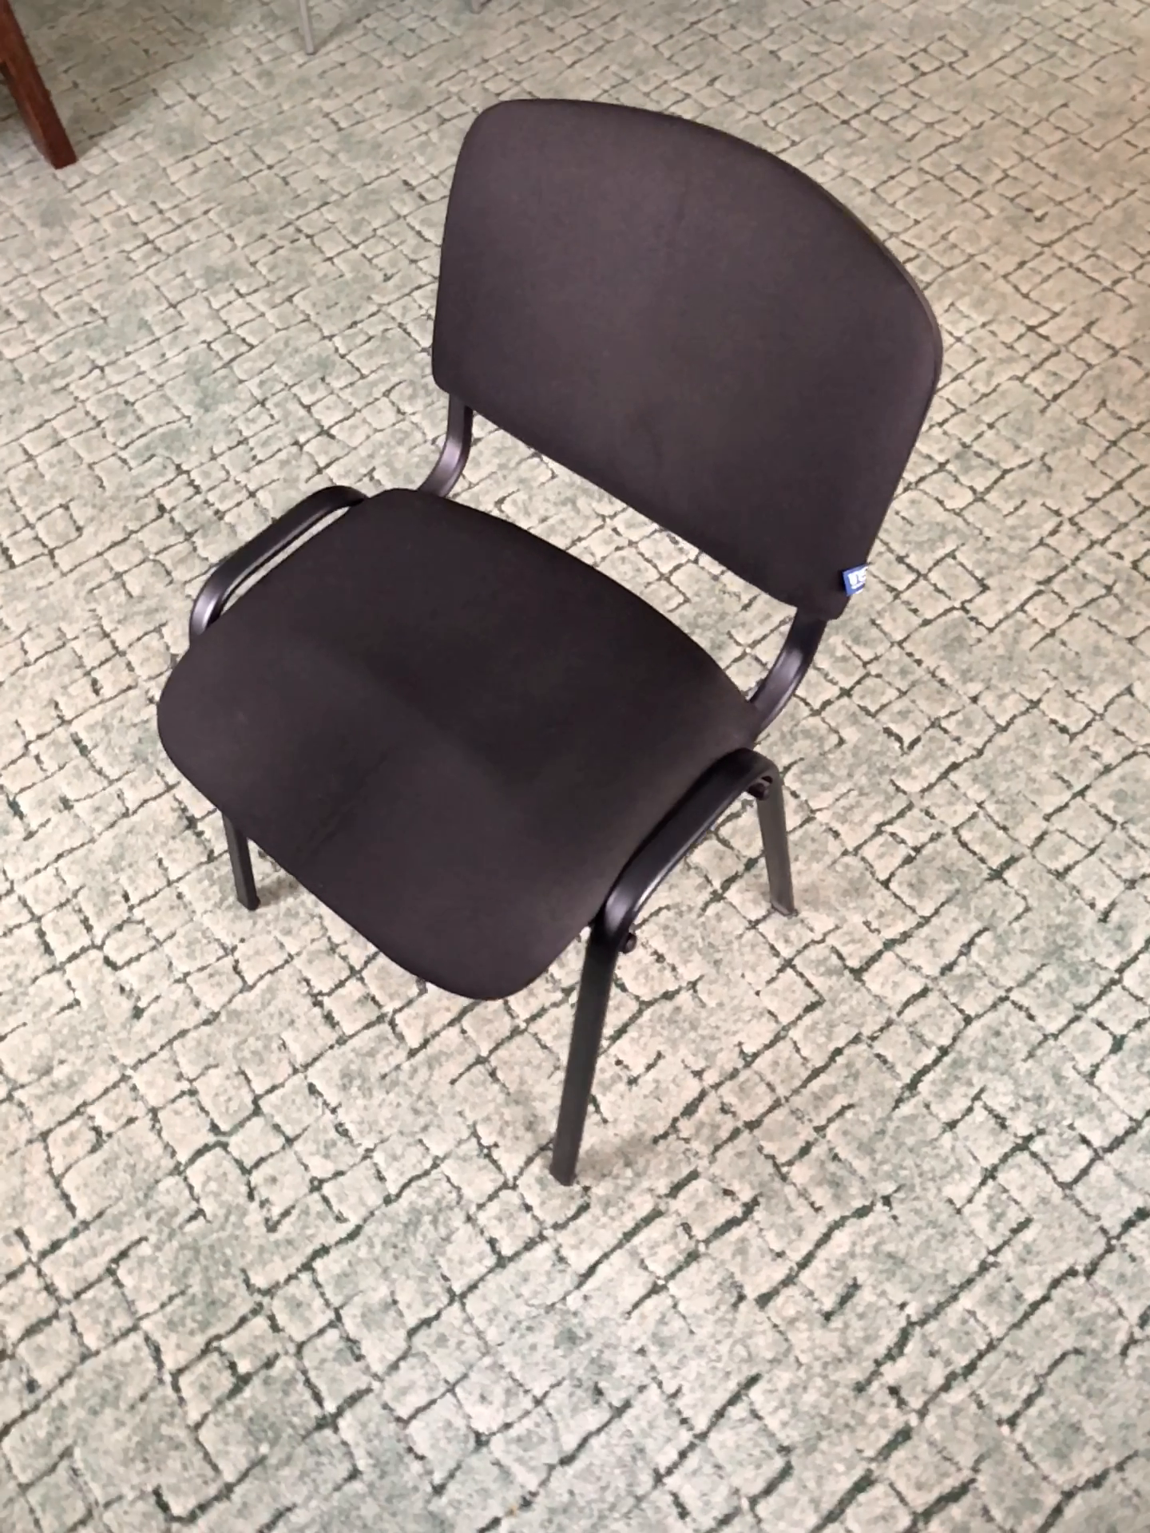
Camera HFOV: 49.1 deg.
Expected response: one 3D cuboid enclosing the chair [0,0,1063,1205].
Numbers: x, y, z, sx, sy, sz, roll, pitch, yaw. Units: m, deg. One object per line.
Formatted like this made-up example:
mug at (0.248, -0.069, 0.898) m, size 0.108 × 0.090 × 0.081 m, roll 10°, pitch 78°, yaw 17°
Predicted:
chair at (-0.063, -0.110, 1.189) m, size 0.582 × 0.785 × 0.602 m, roll 36°, pitch 66°, yaw 23°
